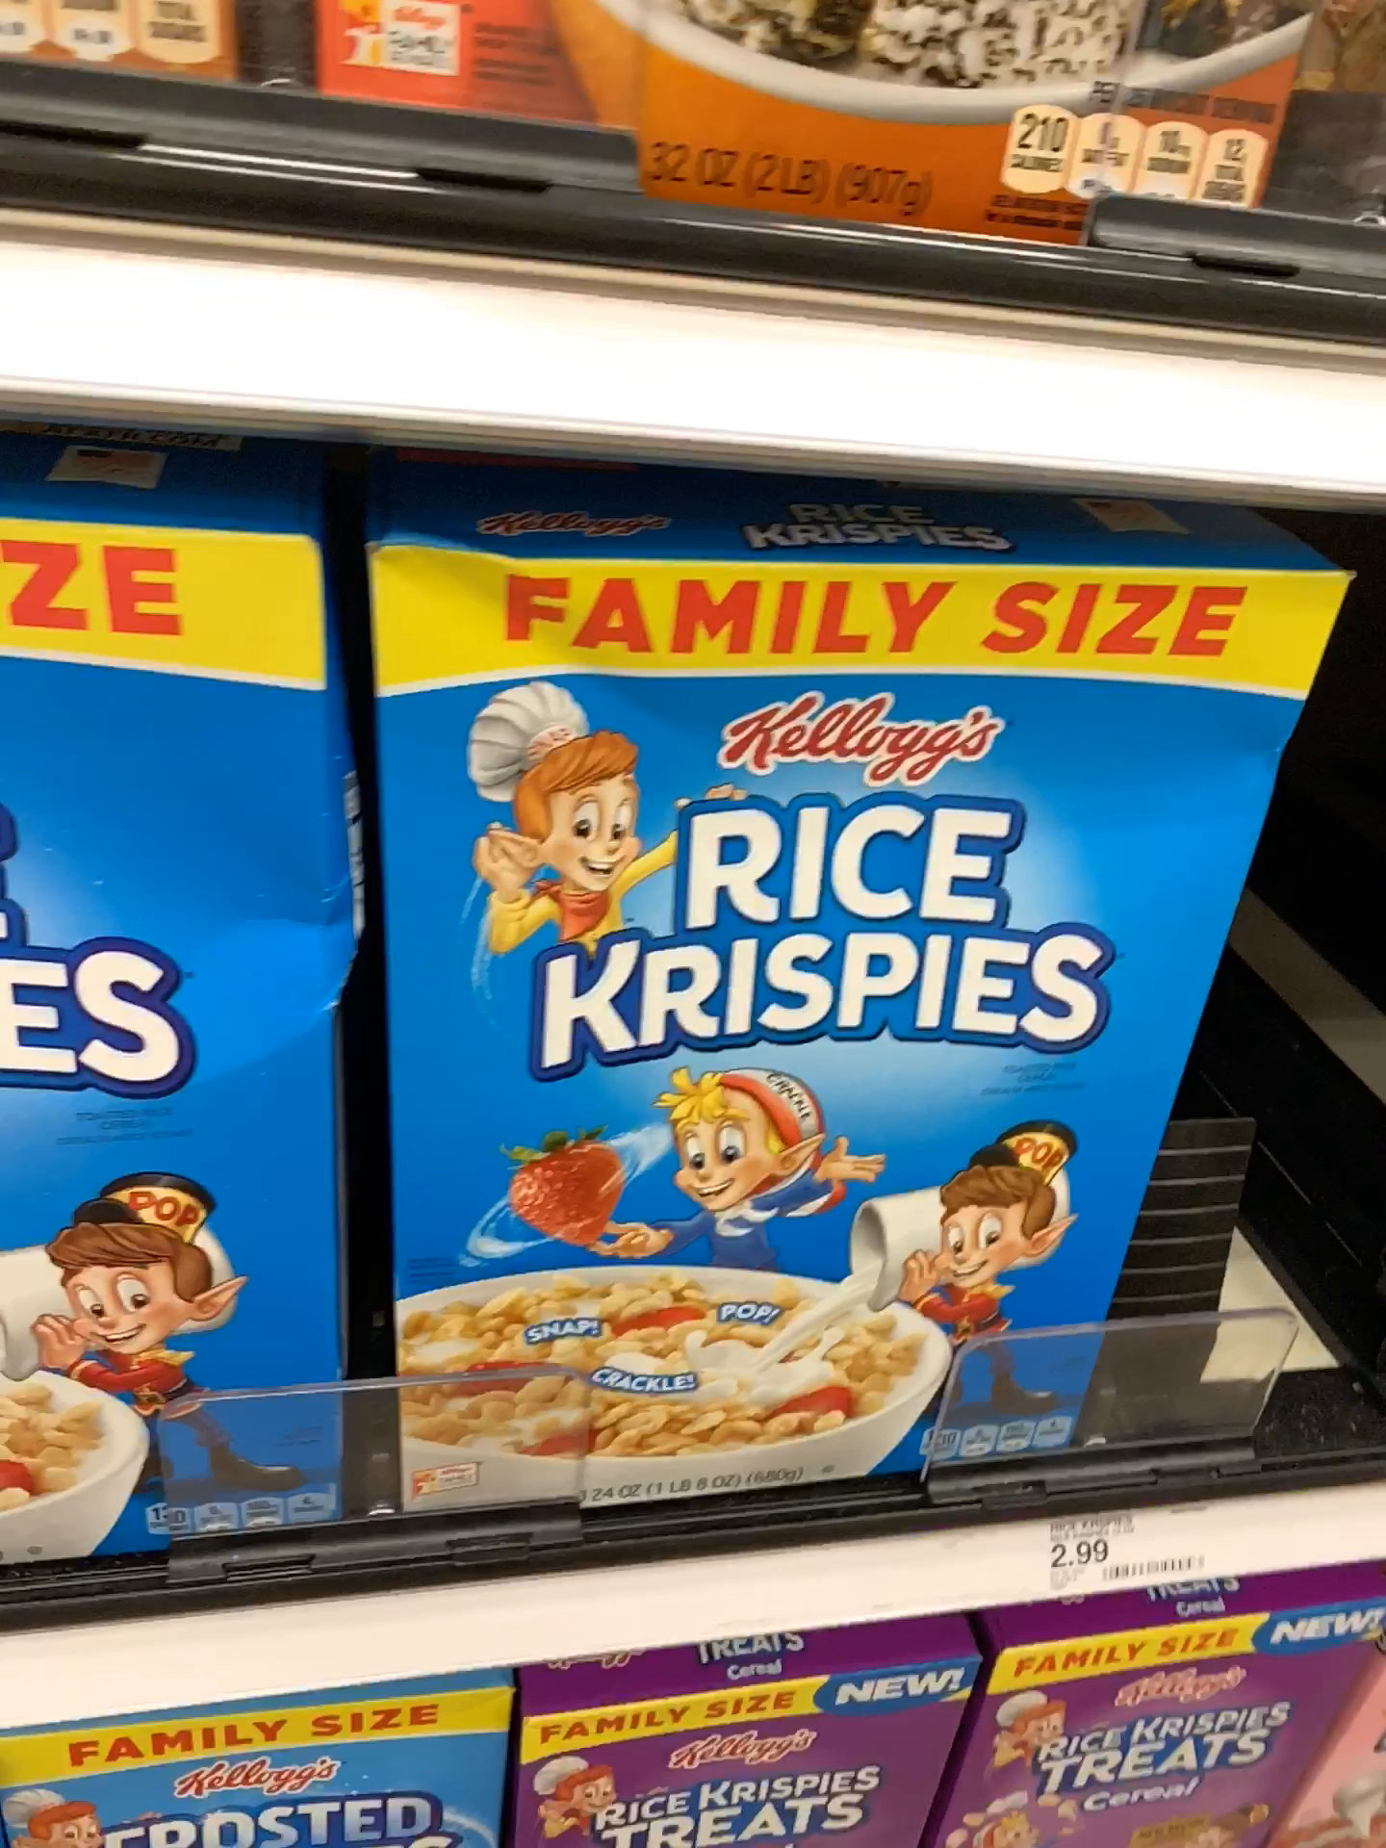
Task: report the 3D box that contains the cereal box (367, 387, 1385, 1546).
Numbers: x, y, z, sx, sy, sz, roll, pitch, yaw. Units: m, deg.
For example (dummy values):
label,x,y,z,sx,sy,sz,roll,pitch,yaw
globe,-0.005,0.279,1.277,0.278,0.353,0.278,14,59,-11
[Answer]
label,x,y,z,sx,sy,sz,roll,pitch,yaw
cereal box,0.025,0.028,0.461,0.250,0.348,0.101,-2,32,-15
